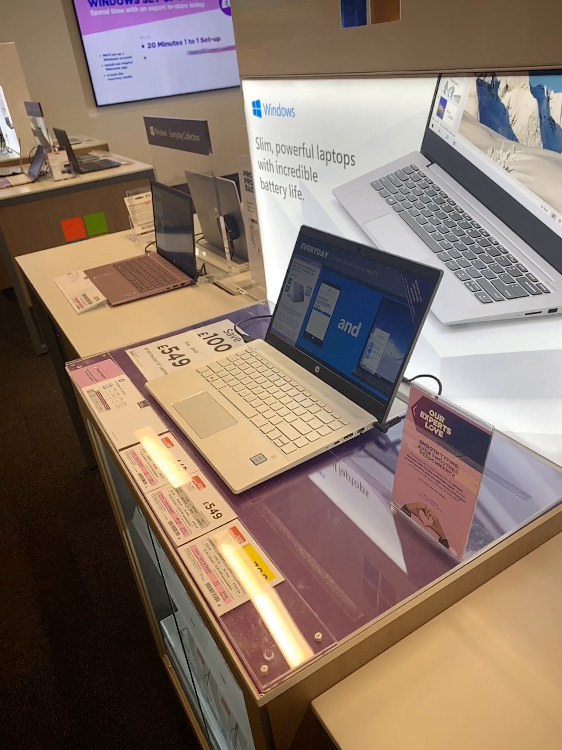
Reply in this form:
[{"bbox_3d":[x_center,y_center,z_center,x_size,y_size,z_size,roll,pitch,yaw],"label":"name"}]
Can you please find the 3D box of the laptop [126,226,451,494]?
[{"bbox_3d":[0.002,-0.054,0.812,0.323,0.171,0.315,-22,33,-23],"label":"laptop"}]
